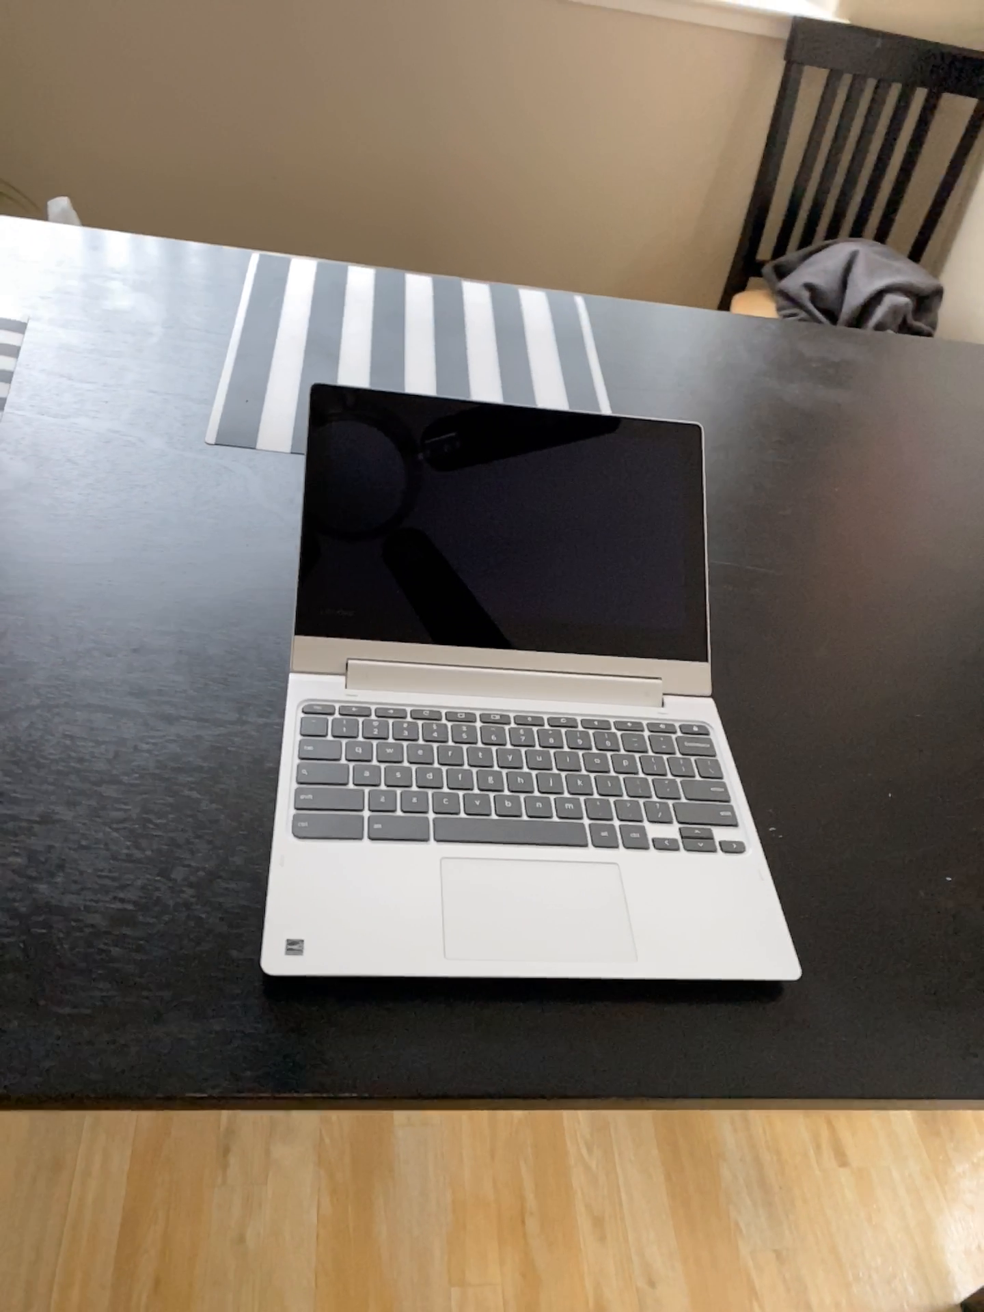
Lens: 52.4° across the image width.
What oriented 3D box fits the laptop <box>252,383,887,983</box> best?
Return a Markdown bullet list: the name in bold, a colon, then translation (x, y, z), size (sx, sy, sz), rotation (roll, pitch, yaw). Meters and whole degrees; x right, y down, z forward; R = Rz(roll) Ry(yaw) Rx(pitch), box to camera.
- **laptop**: translation (0.018, -0.006, 0.607), size (0.285, 0.106, 0.382), rotation (4, 44, -10)
